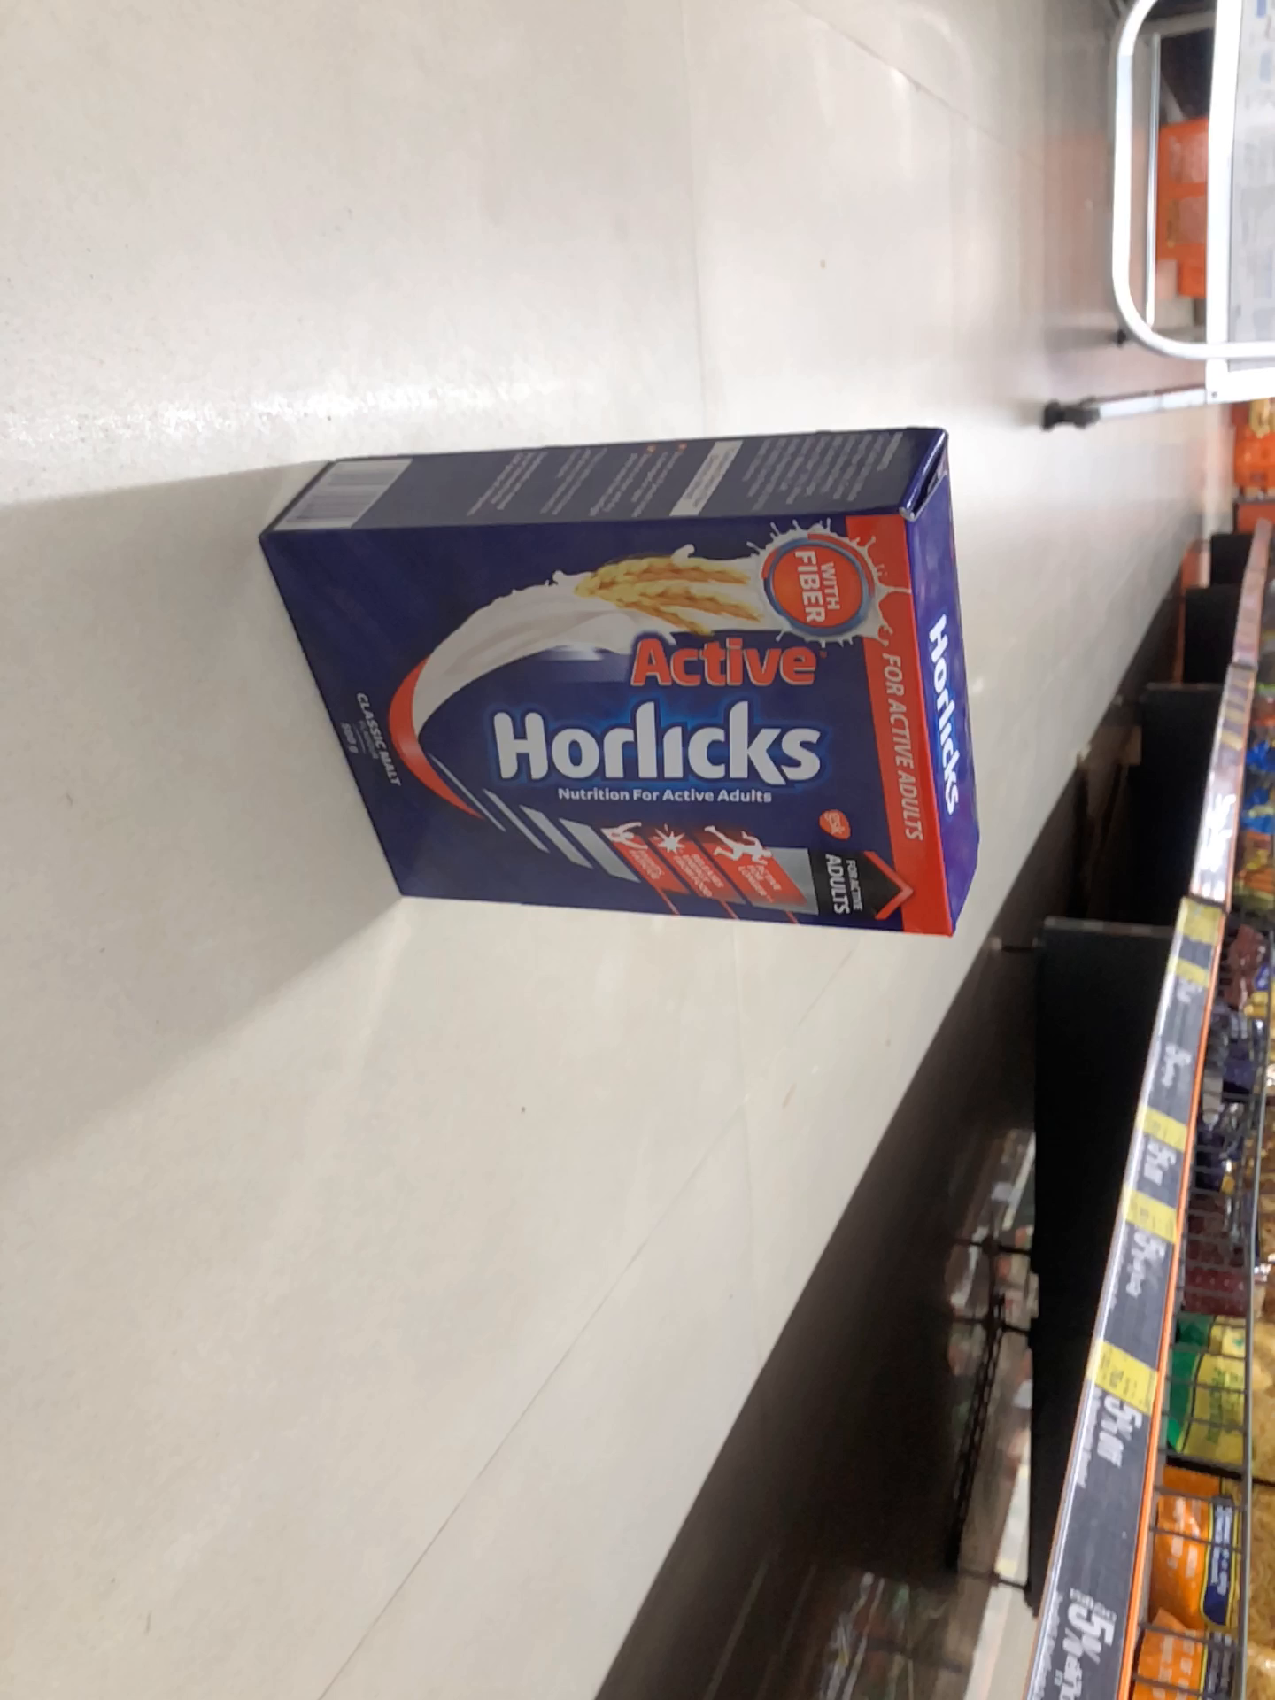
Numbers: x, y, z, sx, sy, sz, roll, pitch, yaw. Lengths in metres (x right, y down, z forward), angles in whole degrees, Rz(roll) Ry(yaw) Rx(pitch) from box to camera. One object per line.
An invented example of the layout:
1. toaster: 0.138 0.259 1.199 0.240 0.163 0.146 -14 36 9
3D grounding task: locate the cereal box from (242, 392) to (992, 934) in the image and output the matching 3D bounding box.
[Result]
1. cereal box: 0.000 -0.051 0.417 0.050 0.189 0.141 -63 147 -44
